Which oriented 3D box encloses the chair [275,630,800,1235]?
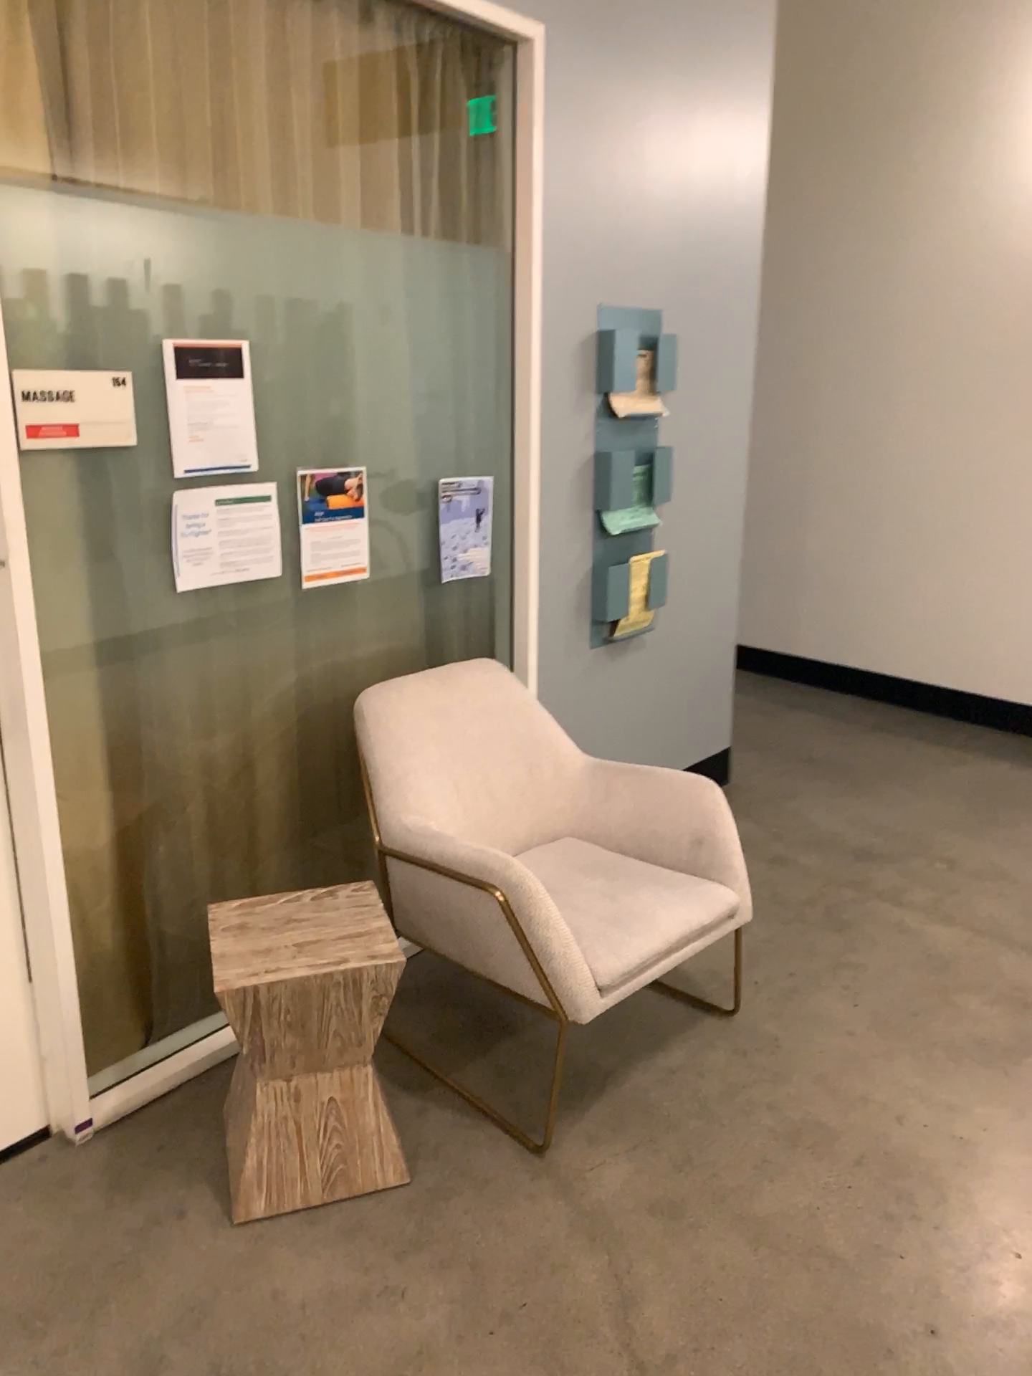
[{"bbox_3d":[0.046,0.444,2.459,0.873,0.926,0.781,13,20,40],"label":"chair"}]
